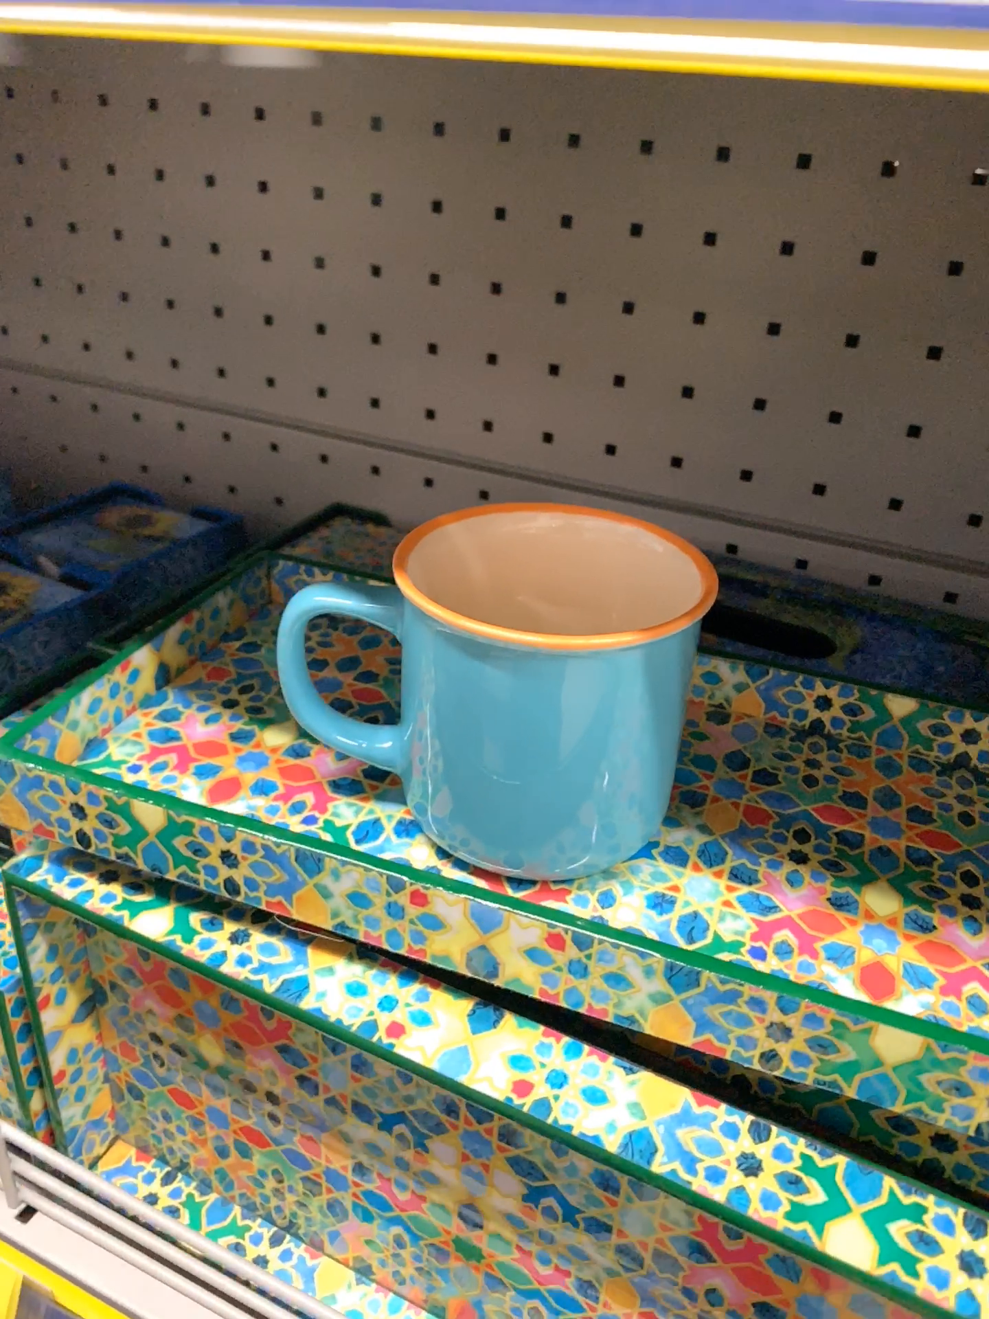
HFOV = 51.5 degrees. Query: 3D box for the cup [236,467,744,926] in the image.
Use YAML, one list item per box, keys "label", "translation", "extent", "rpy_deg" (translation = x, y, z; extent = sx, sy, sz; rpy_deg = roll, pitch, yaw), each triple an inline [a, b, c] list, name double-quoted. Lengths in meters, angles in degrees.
- label: "cup"
  translation: [0.004, 0.004, 0.296]
  extent: [0.120, 0.080, 0.090]
  rpy_deg: [9, 30, 10]
